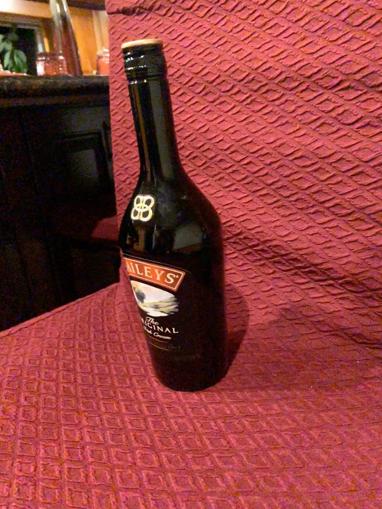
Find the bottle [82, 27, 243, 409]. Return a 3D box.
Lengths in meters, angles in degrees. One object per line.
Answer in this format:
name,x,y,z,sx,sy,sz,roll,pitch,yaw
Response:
bottle,-0.014,-0.021,0.338,0.080,0.289,0.070,11,25,38
